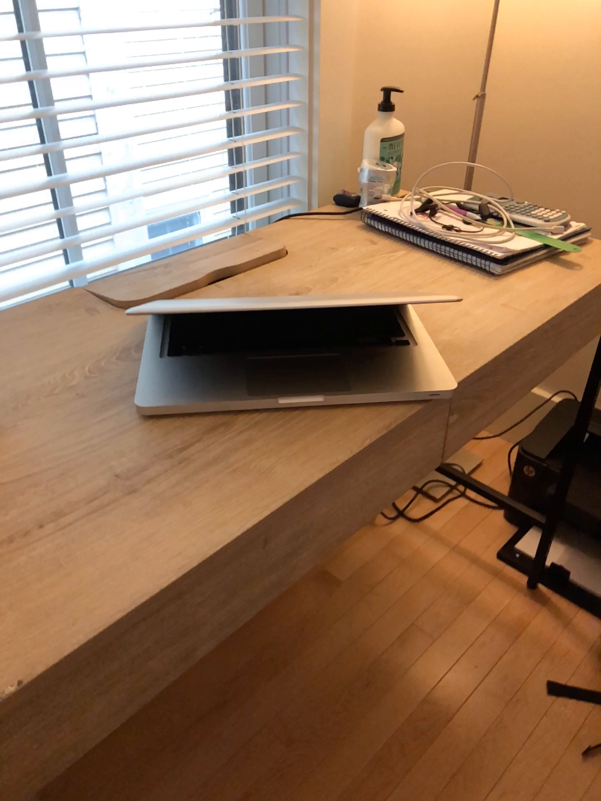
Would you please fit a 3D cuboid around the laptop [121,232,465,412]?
[{"bbox_3d":[-0.015,-0.091,0.683,0.300,0.082,0.211,-3,35,-6],"label":"laptop"}]
